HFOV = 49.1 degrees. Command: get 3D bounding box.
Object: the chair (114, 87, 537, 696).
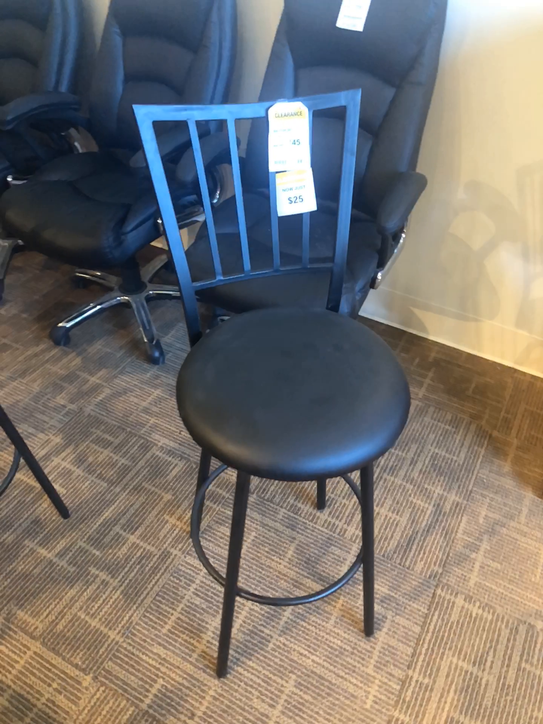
[{"bbox_3d":[0.013,0.117,1.159,0.430,1.074,0.482,-10,42,-15],"label":"chair"}]
